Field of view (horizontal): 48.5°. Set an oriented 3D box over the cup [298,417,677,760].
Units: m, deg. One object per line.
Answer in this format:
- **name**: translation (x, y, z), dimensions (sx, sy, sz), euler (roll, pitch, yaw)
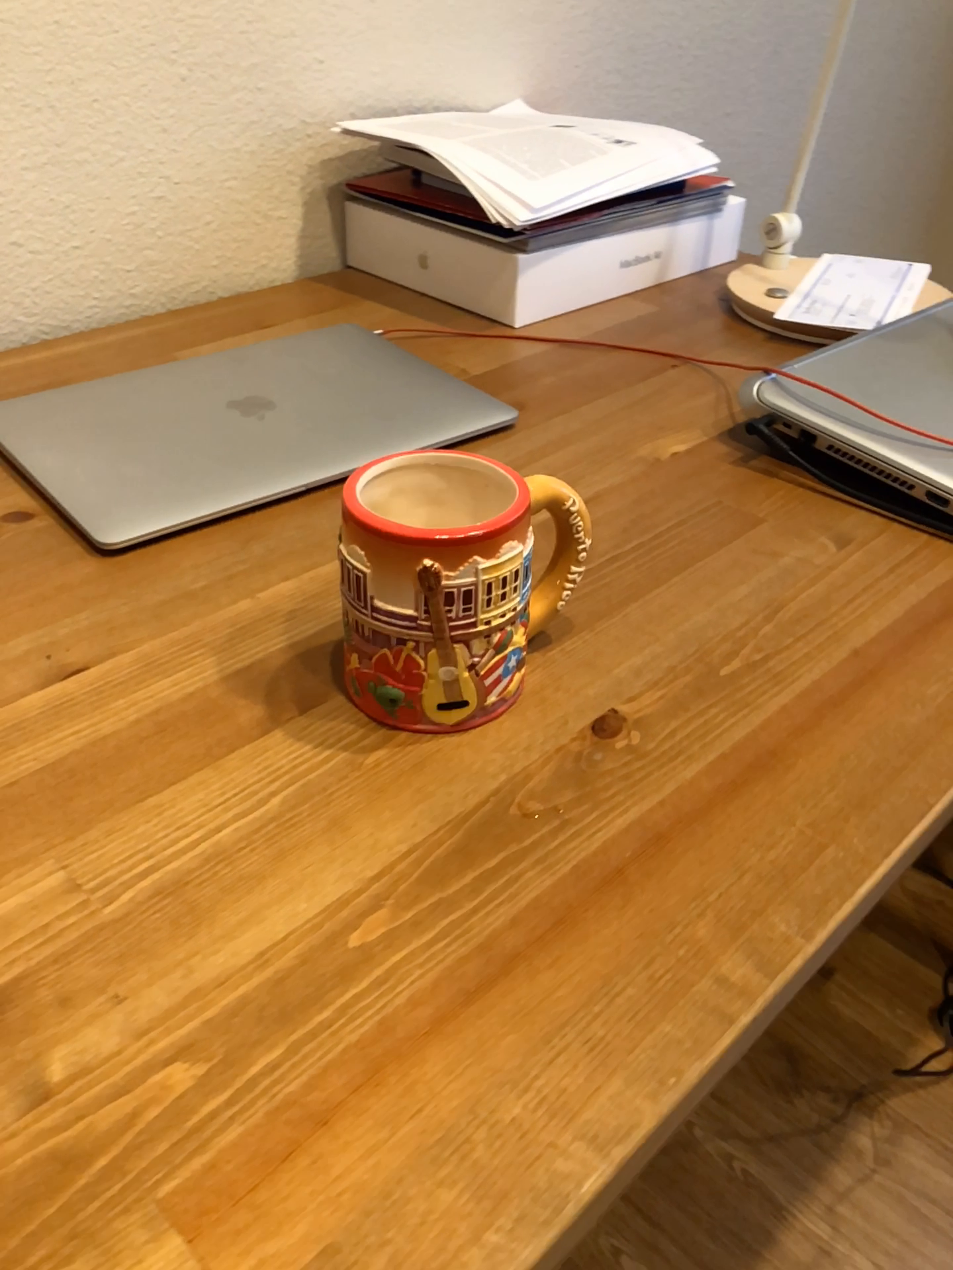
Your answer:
- **cup**: translation (0.003, -0.026, 0.466), dimensions (0.130, 0.090, 0.090), euler (-17, 39, -25)
